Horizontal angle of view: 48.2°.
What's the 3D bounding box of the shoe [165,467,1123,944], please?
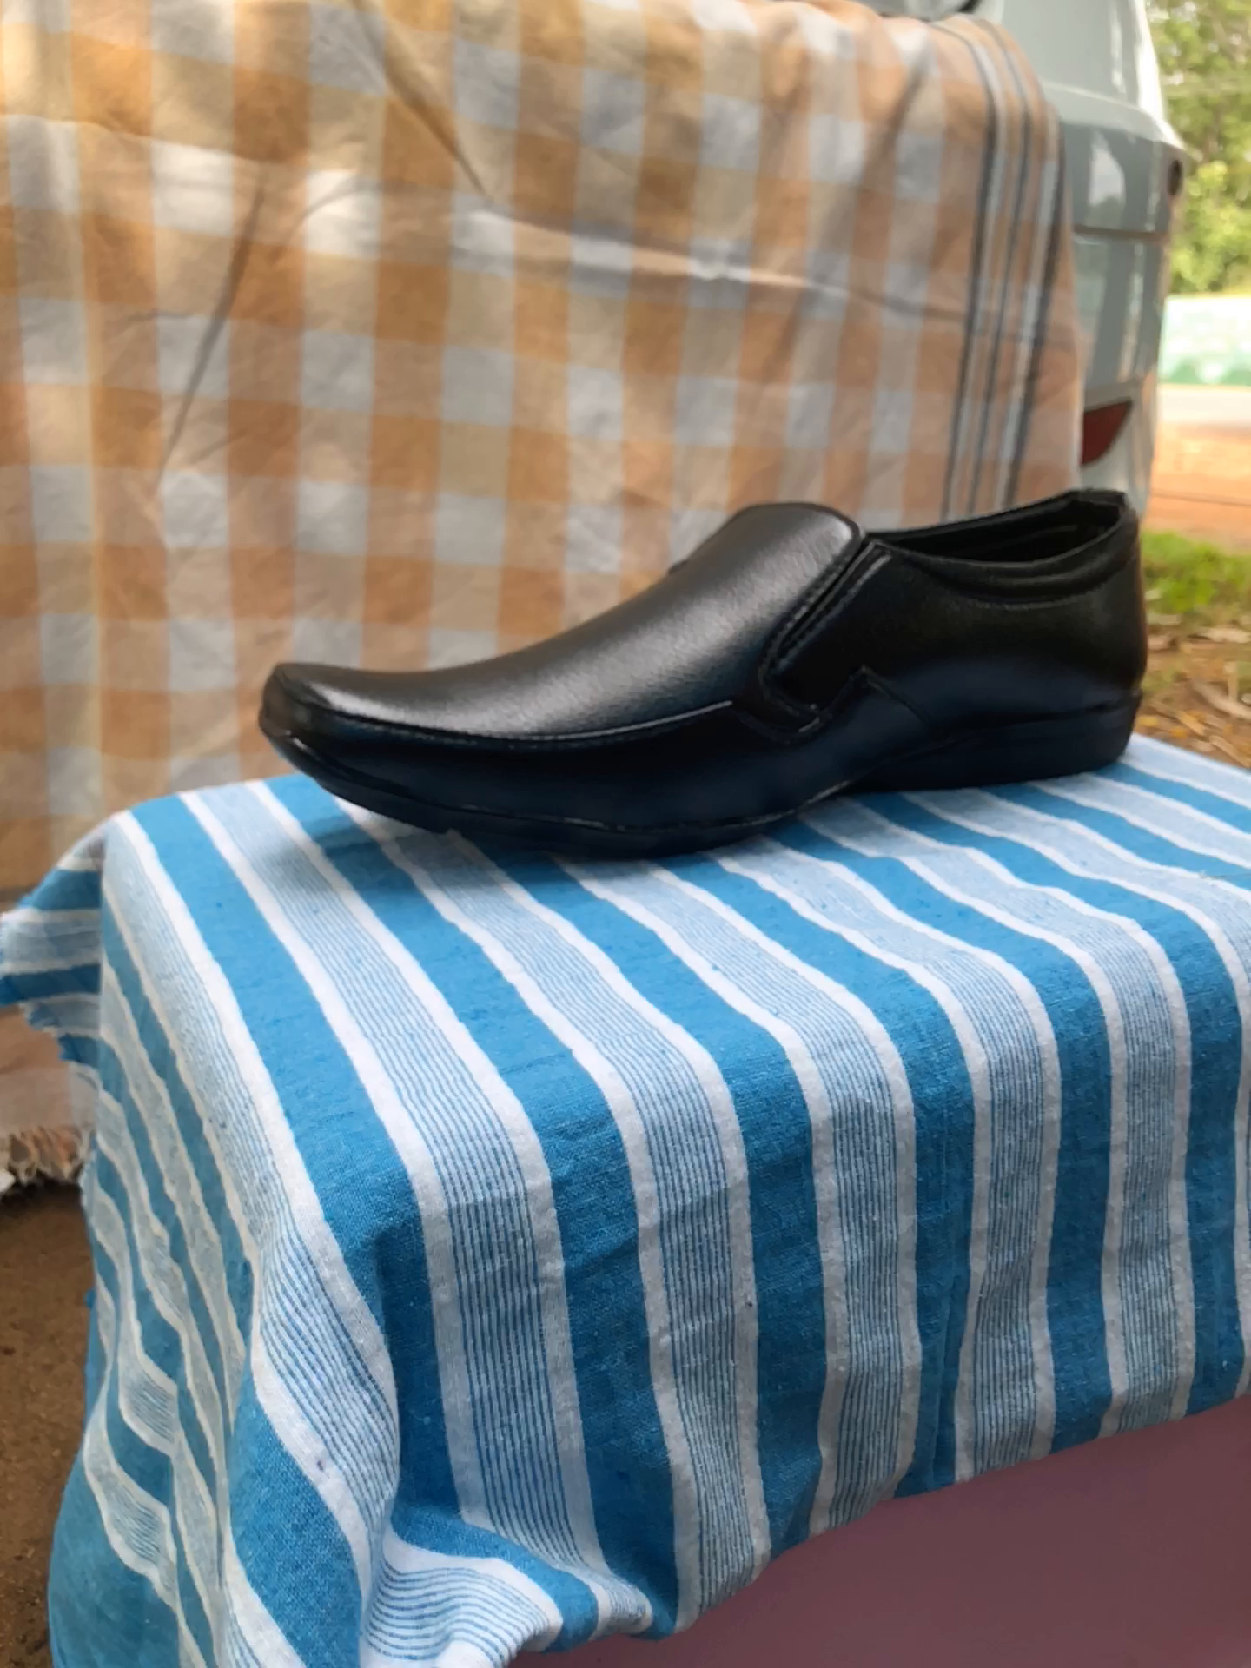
[{"bbox_3d":[0.017,-0.060,0.462,0.301,0.110,0.100,-10,21,-32],"label":"shoe"}]
